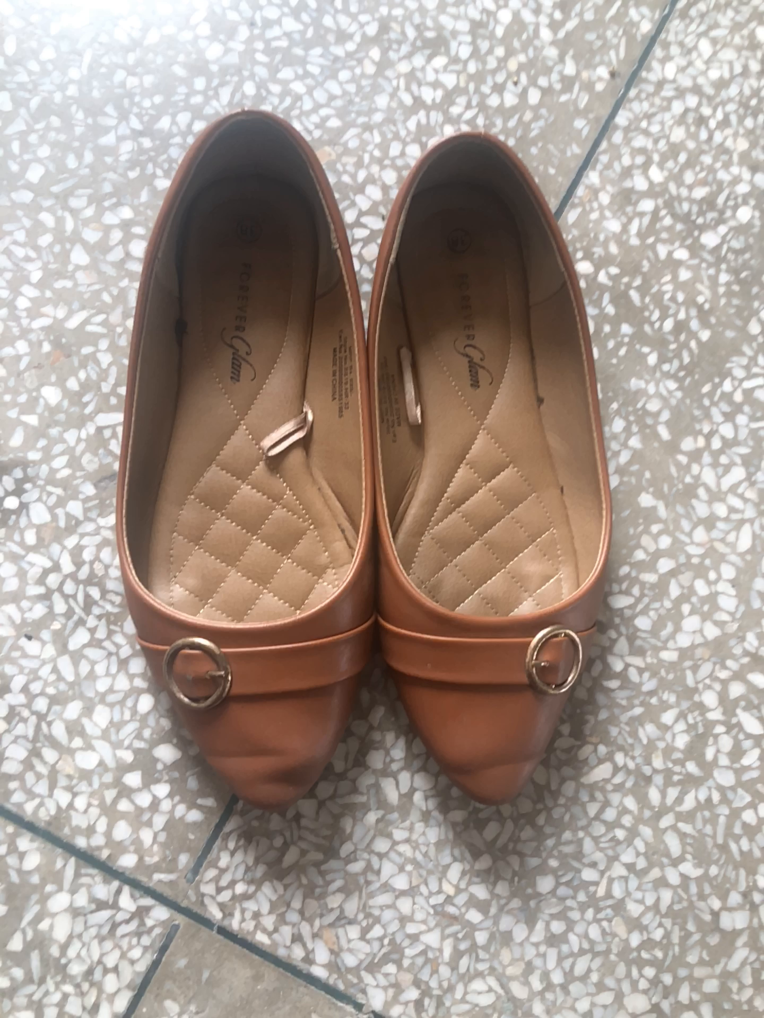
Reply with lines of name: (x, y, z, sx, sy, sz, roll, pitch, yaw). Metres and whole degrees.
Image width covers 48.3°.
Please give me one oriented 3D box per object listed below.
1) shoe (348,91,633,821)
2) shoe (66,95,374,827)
shoe: (0.040, -0.016, 0.322, 0.090, 0.050, 0.250, -3, 95, 0)
shoe: (-0.055, -0.014, 0.321, 0.090, 0.050, 0.250, -3, 95, 0)
